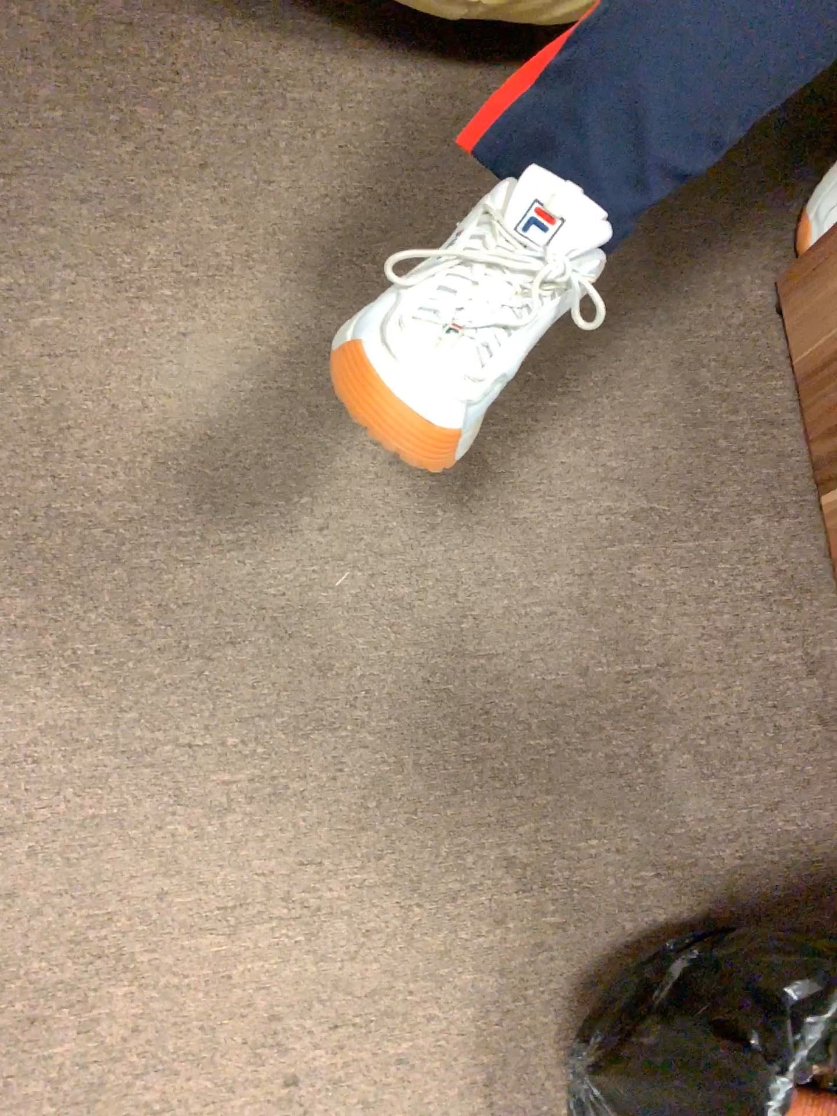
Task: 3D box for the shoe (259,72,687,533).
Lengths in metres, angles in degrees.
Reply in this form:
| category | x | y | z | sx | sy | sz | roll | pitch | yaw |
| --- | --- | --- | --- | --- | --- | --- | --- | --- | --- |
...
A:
| category | x | y | z | sx | sy | sz | roll | pitch | yaw |
| --- | --- | --- | --- | --- | --- | --- | --- | --- | --- |
| shoe | 0.041 | -0.158 | 0.511 | 0.130 | 0.130 | 0.230 | 40 | 50 | -7 |
